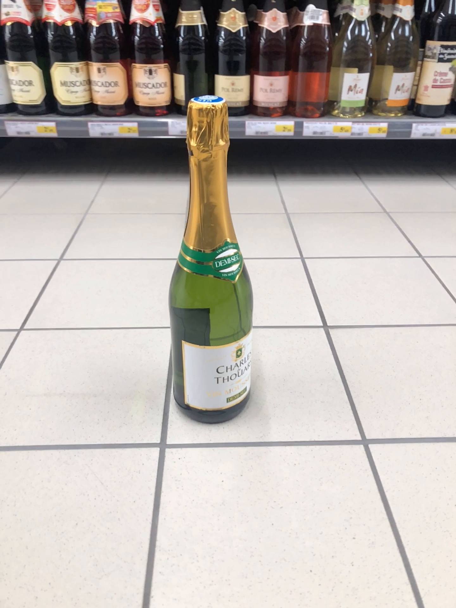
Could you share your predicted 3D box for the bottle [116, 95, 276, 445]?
[{"bbox_3d":[-0.028,-0.024,0.465,0.090,0.298,0.090,0,30,0],"label":"bottle"}]
